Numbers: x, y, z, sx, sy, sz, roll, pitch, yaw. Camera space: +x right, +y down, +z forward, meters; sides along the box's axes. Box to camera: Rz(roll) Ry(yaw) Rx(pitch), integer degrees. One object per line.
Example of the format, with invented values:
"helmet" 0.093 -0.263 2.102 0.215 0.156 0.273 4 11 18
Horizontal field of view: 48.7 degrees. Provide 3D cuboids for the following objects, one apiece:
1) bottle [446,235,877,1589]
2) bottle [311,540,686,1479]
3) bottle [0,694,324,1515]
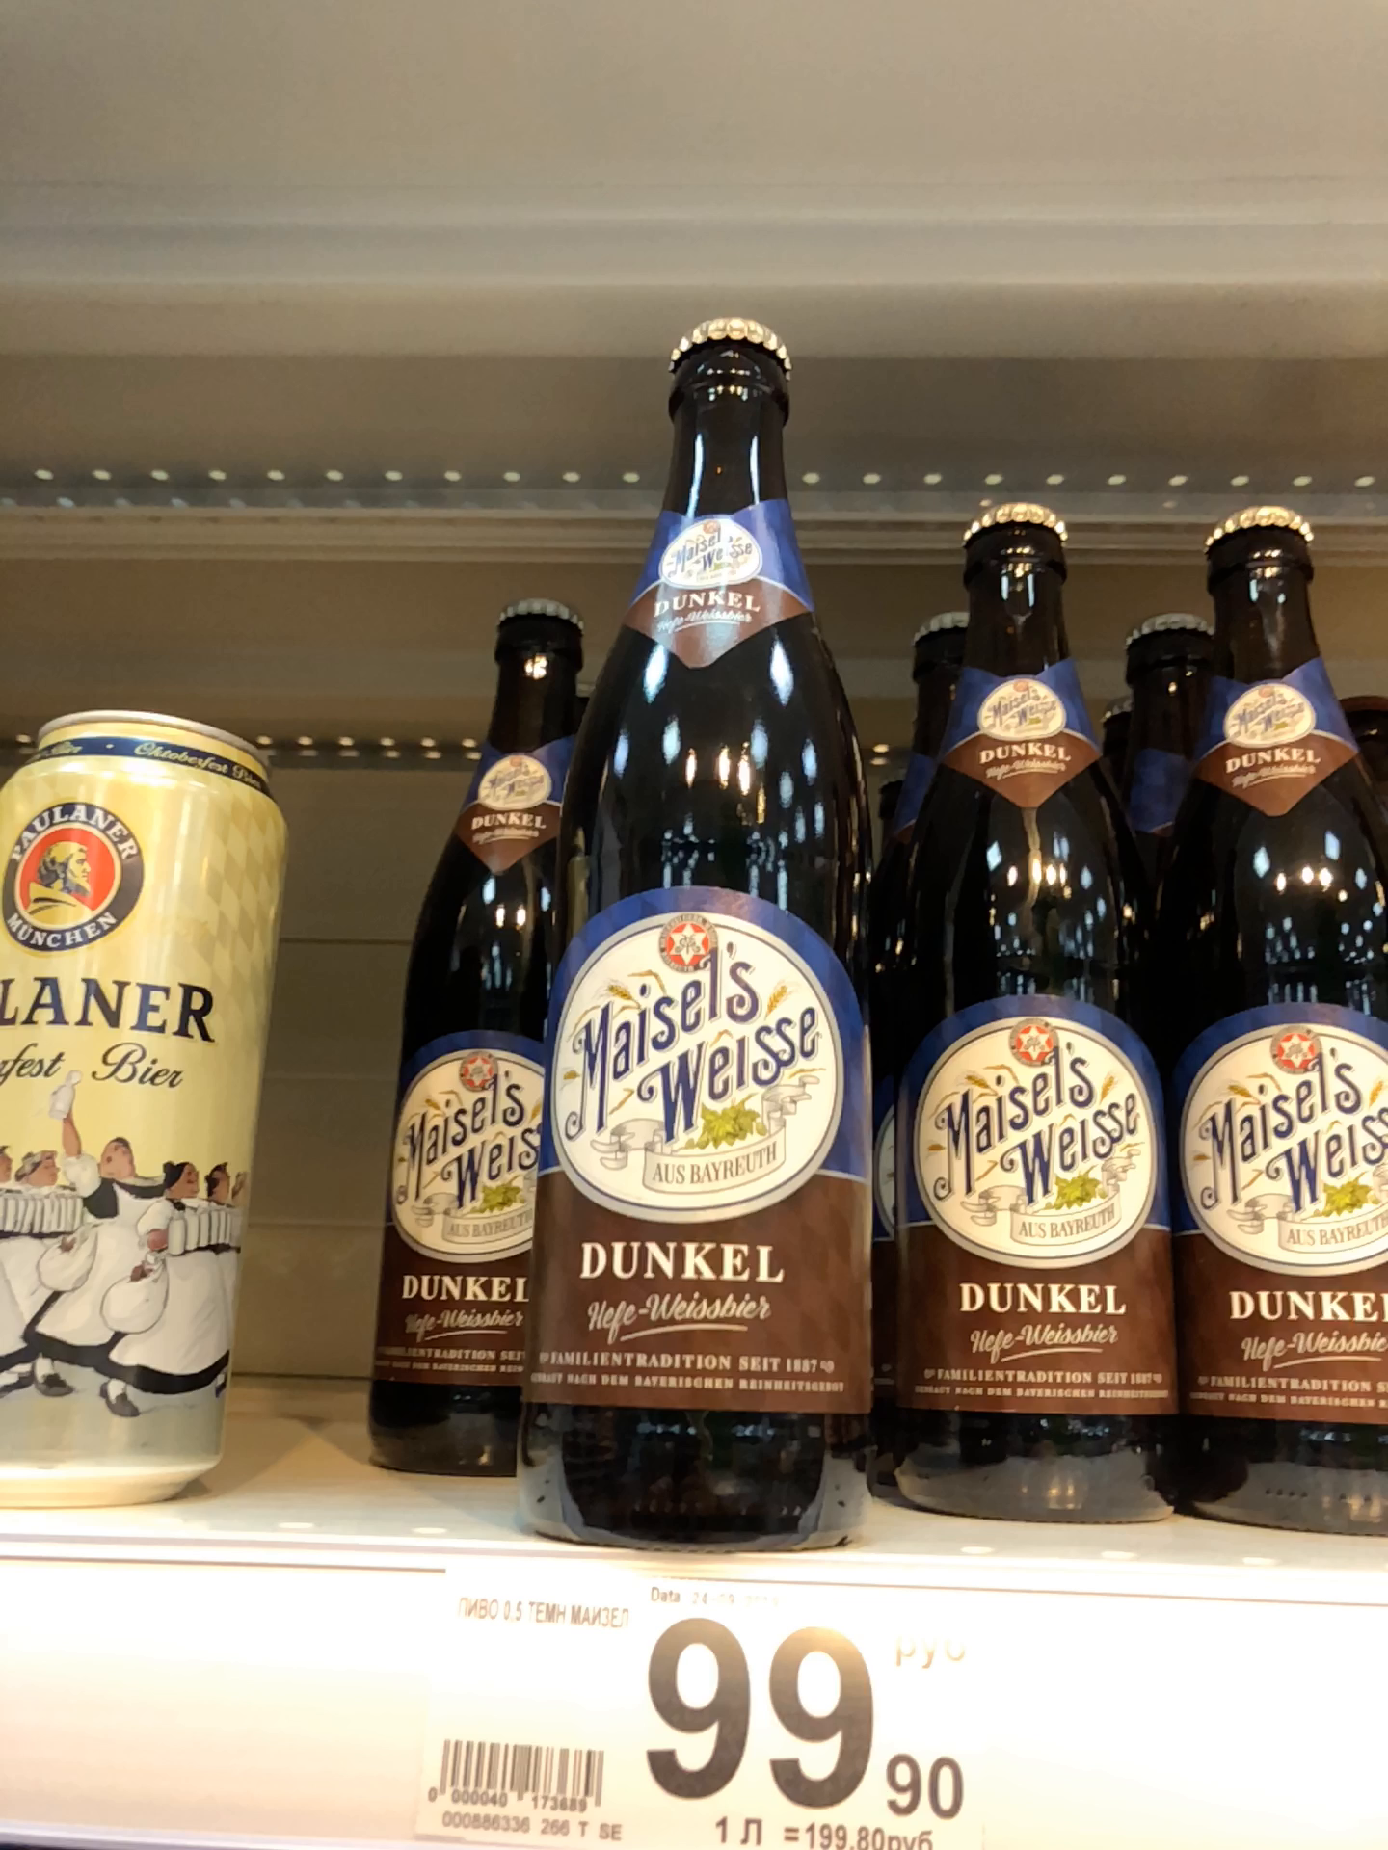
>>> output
"bottle" 0.001 -0.009 0.326 0.065 0.264 0.066 2 -16 1
"bottle" -0.052 0.024 0.467 0.070 0.263 0.082 -2 -16 15
"bottle" -0.135 0.040 0.350 0.069 0.168 0.067 2 -16 1
